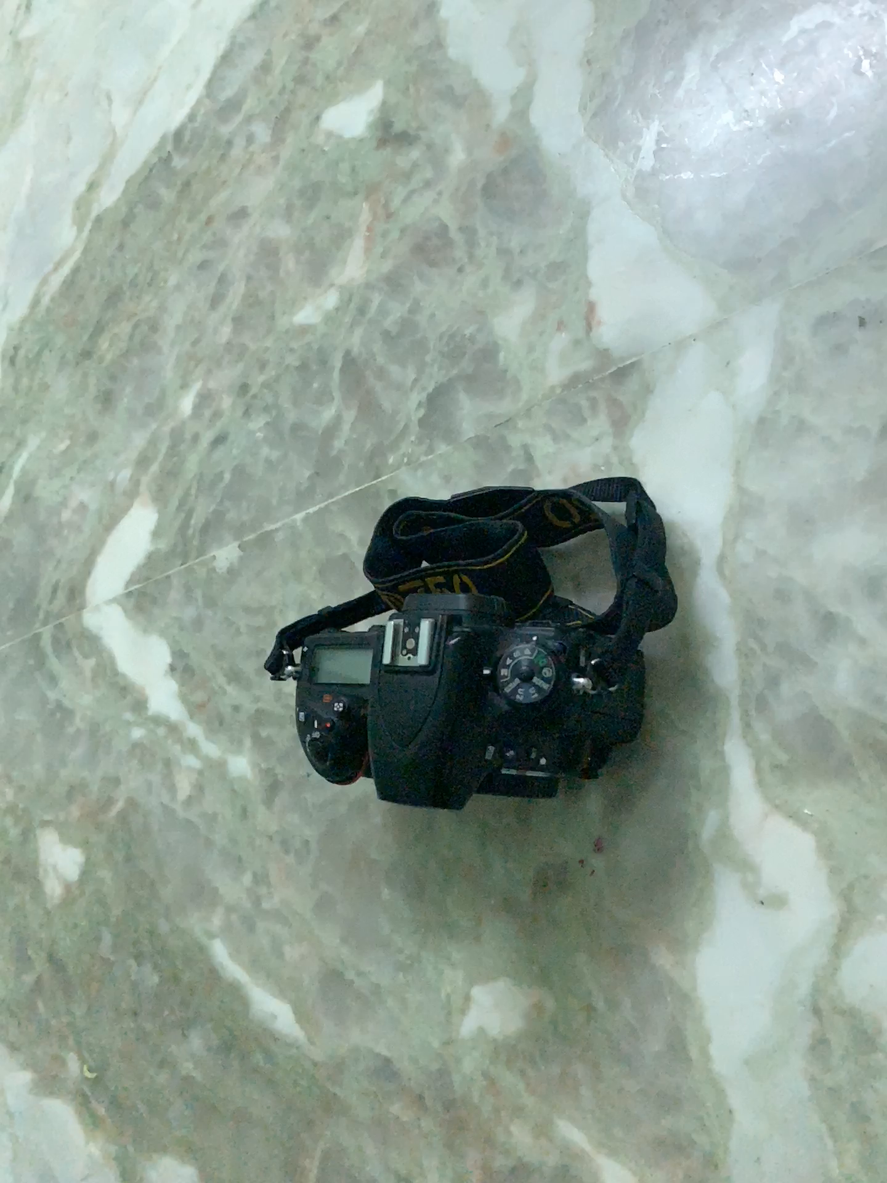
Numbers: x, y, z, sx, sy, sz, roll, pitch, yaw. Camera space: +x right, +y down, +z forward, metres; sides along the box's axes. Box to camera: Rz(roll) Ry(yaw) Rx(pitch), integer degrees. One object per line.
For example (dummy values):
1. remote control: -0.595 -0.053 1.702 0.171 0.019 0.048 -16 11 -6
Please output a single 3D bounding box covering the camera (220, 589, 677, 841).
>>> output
1. camera: 0.004 0.050 0.371 0.151 0.100 0.080 -1 78 33
